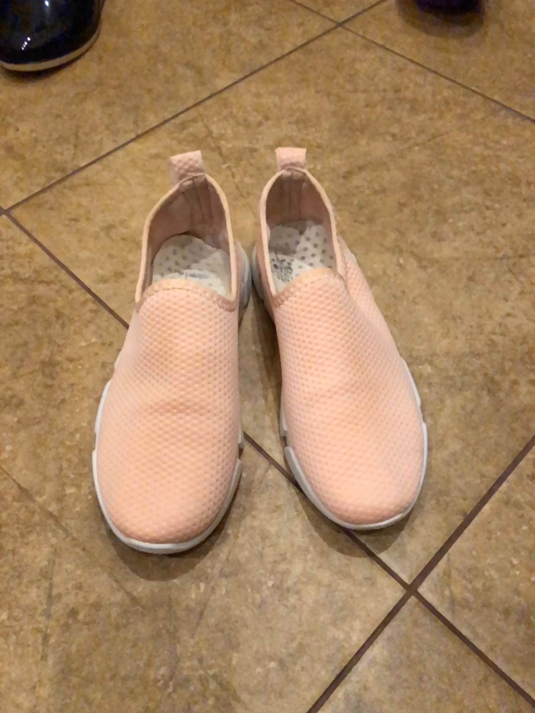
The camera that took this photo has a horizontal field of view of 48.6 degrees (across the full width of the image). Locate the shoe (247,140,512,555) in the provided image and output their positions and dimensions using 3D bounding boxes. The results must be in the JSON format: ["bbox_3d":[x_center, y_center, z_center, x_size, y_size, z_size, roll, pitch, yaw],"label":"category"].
[{"bbox_3d":[0.047,-0.015,0.363,0.090,0.099,0.231,-7,56,-4],"label":"shoe"}]

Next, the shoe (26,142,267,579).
[{"bbox_3d":[-0.051,-0.005,0.365,0.090,0.119,0.241,2,56,2],"label":"shoe"}]
